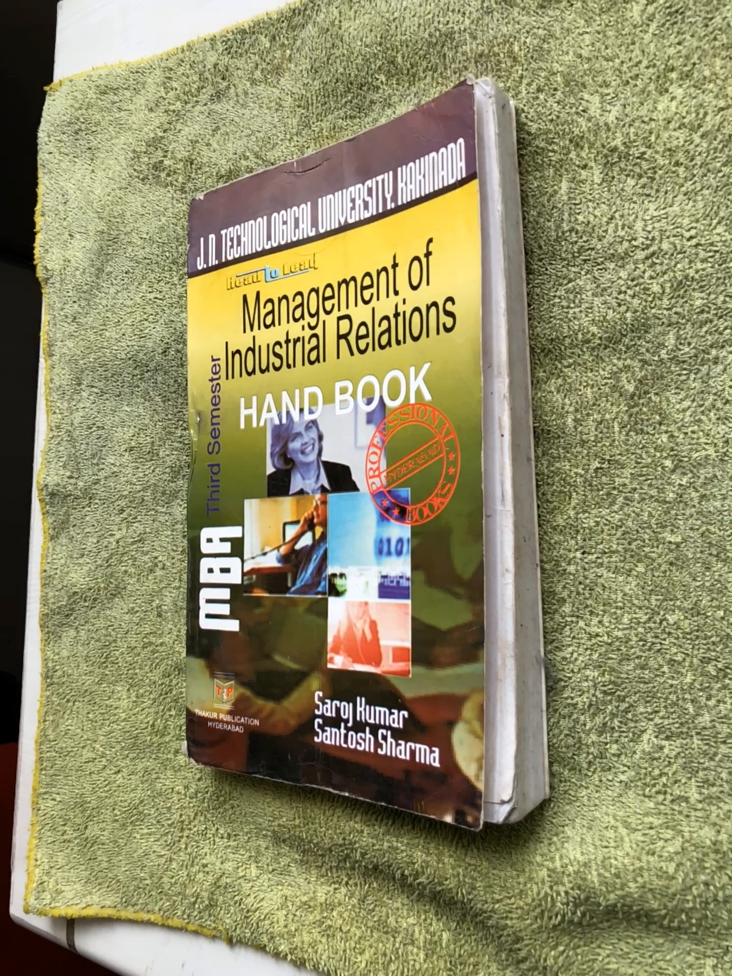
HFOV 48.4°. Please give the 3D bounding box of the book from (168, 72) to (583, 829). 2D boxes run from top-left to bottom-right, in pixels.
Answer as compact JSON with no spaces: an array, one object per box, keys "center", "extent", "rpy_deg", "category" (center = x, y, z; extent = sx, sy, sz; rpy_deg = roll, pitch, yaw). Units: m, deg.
[{"center":[-0.002,-0.010,0.294],"extent":[0.141,0.050,0.220],"rpy_deg":[-4,84,34],"category":"book"}]
